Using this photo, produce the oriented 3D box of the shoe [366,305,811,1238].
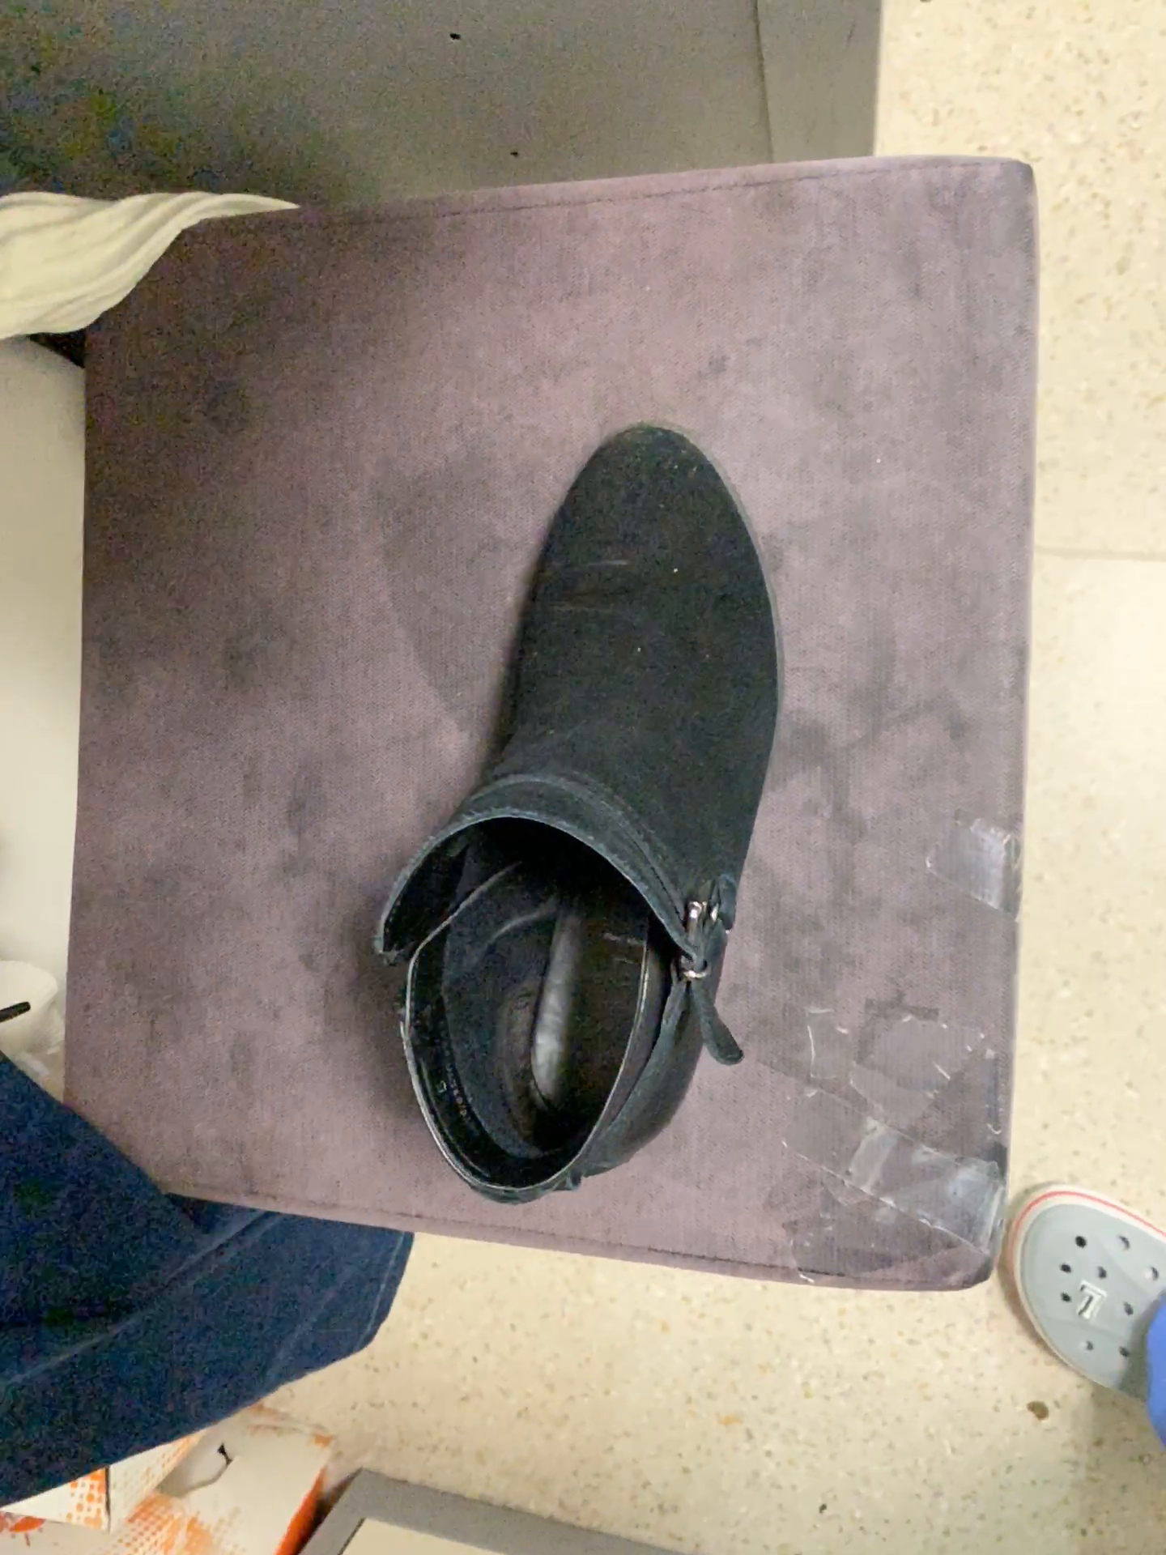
[{"bbox_3d":[0.012,-0.004,0.379,0.100,0.138,0.235,3,90,13],"label":"shoe"}]
